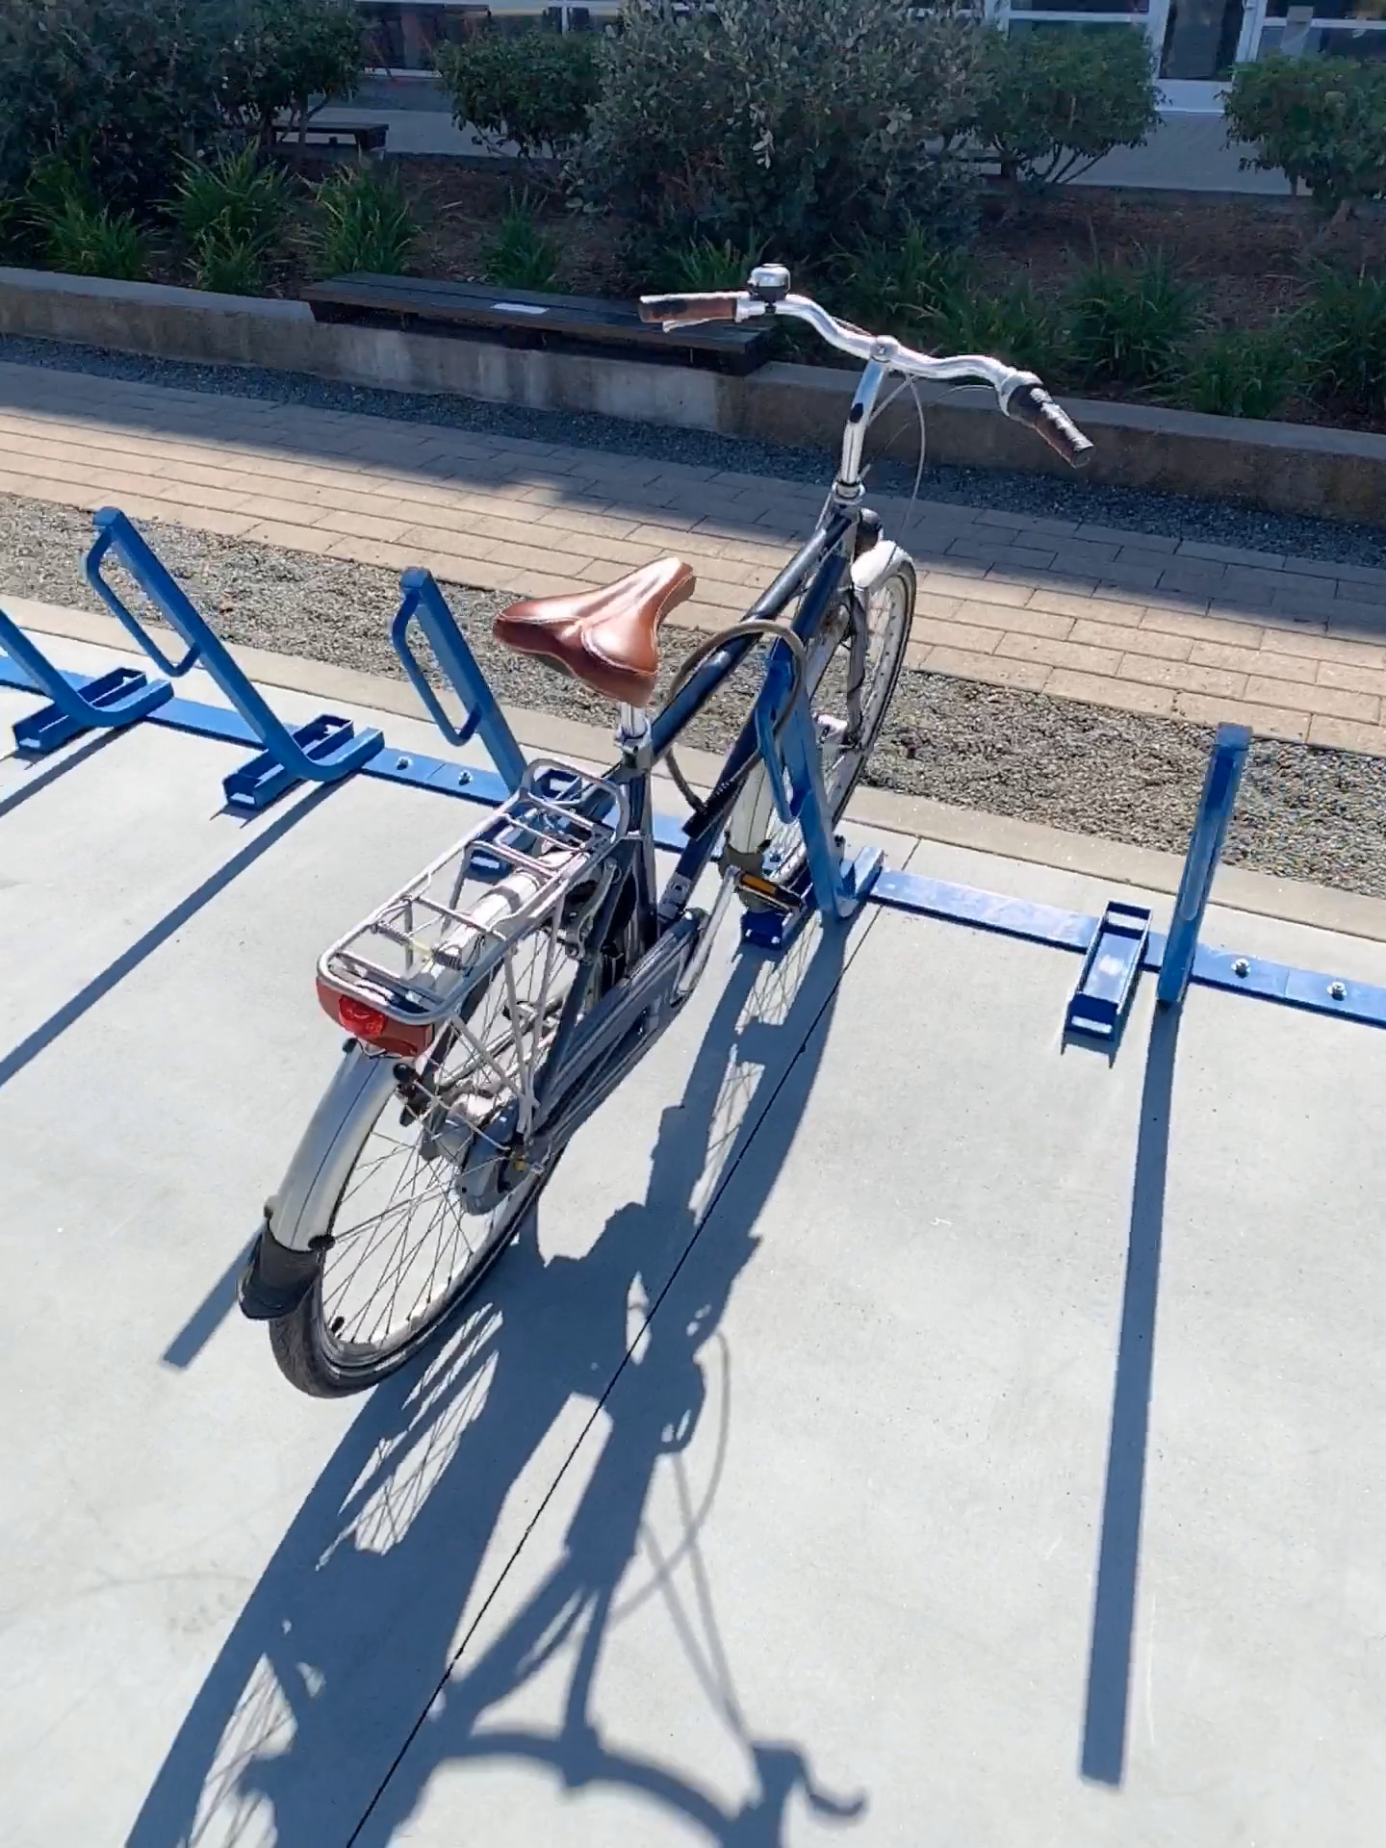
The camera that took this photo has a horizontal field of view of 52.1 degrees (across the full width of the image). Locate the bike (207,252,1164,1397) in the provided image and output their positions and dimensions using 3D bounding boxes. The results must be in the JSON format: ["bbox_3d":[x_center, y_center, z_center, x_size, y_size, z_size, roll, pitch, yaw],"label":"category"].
[{"bbox_3d":[0.081,-0.221,1.768,0.591,0.916,1.064,17,39,23],"label":"bike"}]
